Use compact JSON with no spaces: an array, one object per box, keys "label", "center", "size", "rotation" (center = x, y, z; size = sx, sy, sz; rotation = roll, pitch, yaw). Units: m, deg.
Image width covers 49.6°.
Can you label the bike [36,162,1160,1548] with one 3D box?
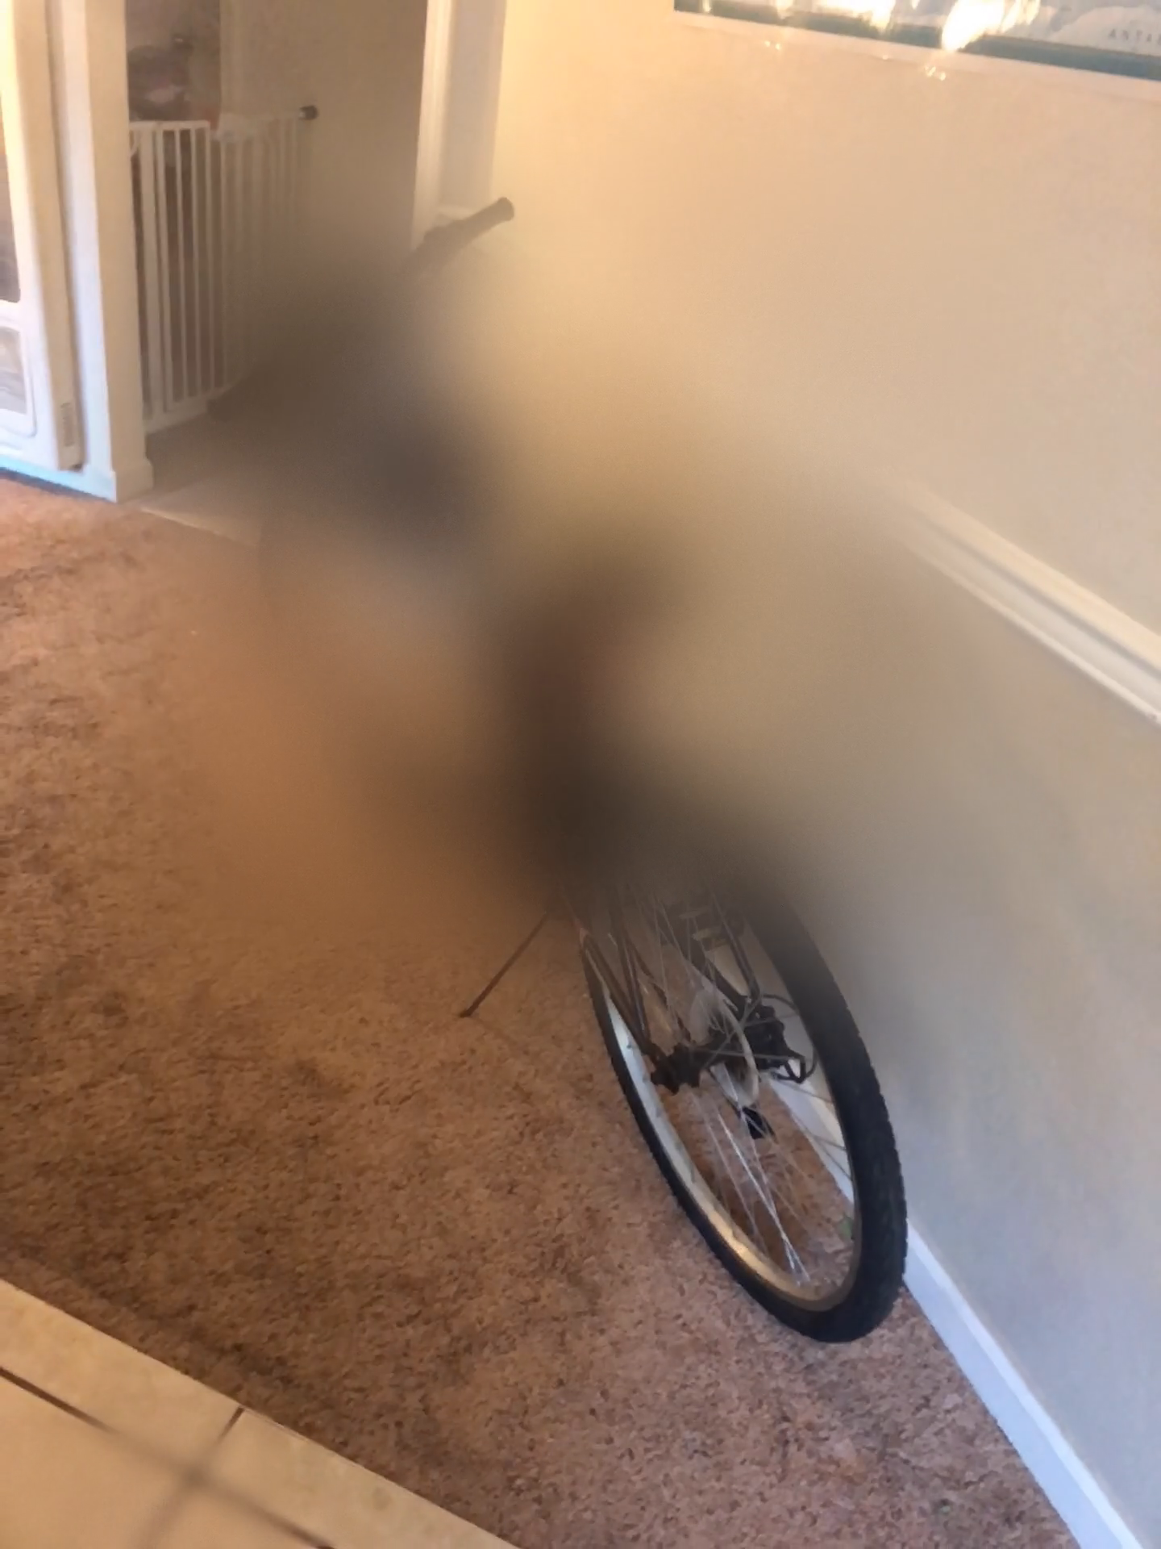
[{"label":"bike","center":[-0.175,-0.081,1.866],"size":[0.680,1.177,1.872],"rotation":[-13,38,-31]}]
